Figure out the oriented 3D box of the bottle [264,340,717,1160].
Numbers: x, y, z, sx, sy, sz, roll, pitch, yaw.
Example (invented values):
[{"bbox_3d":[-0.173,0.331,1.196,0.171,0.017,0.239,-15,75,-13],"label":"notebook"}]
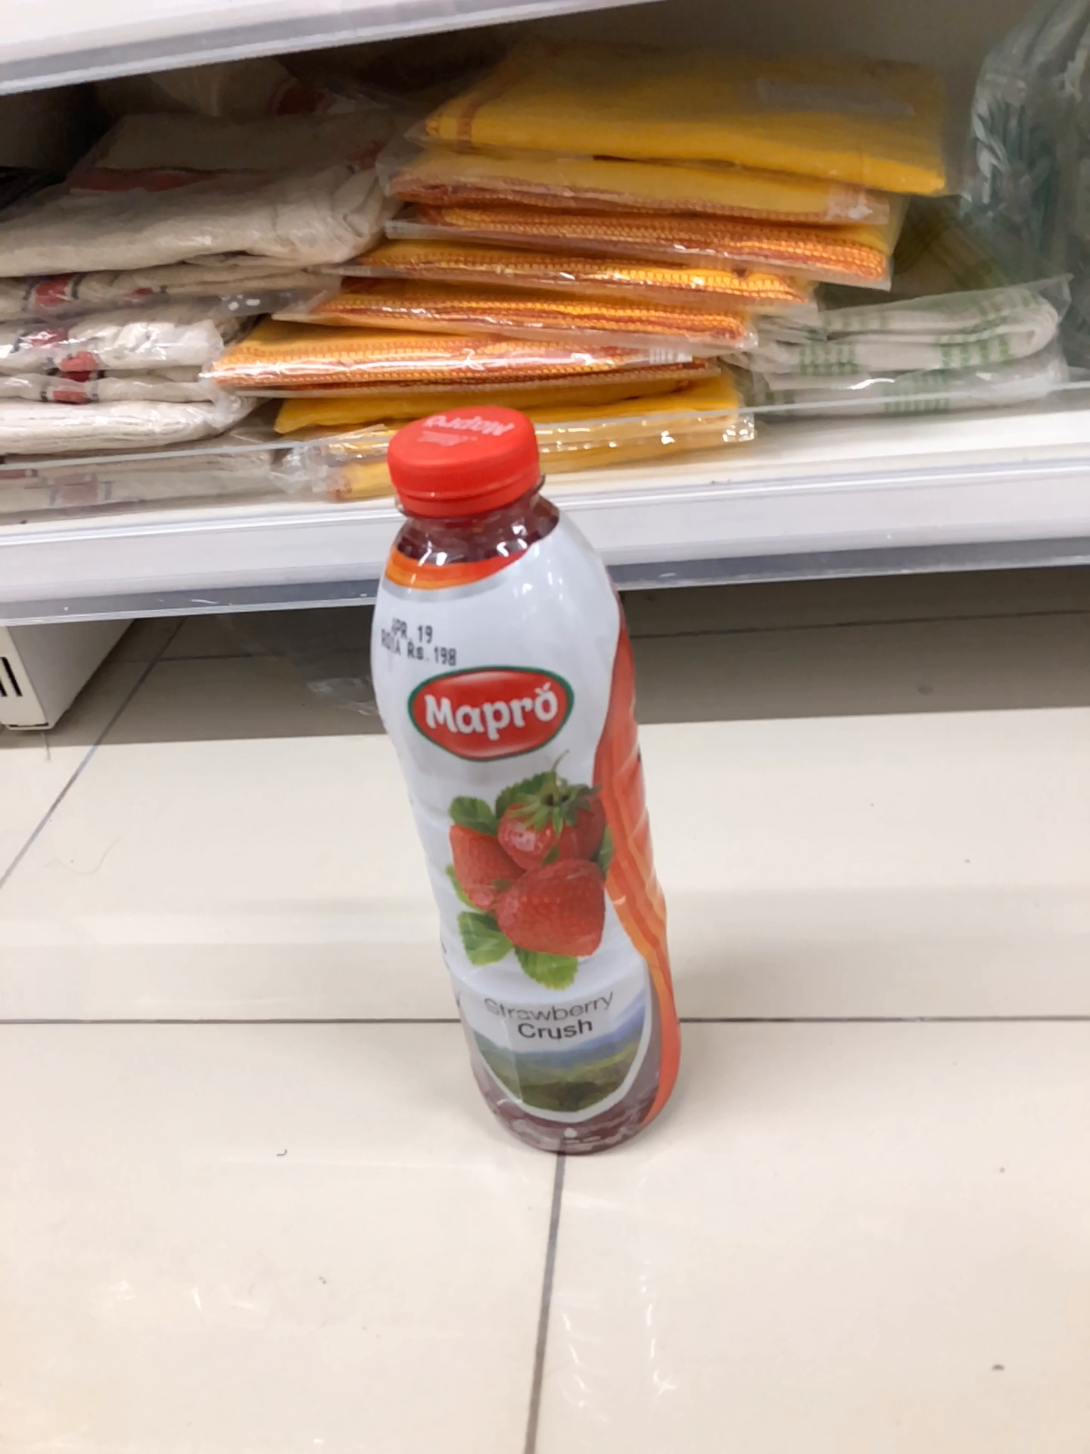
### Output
[{"bbox_3d":[0.000,0.022,0.370,0.090,0.248,0.081,-3,35,9],"label":"bottle"}]
